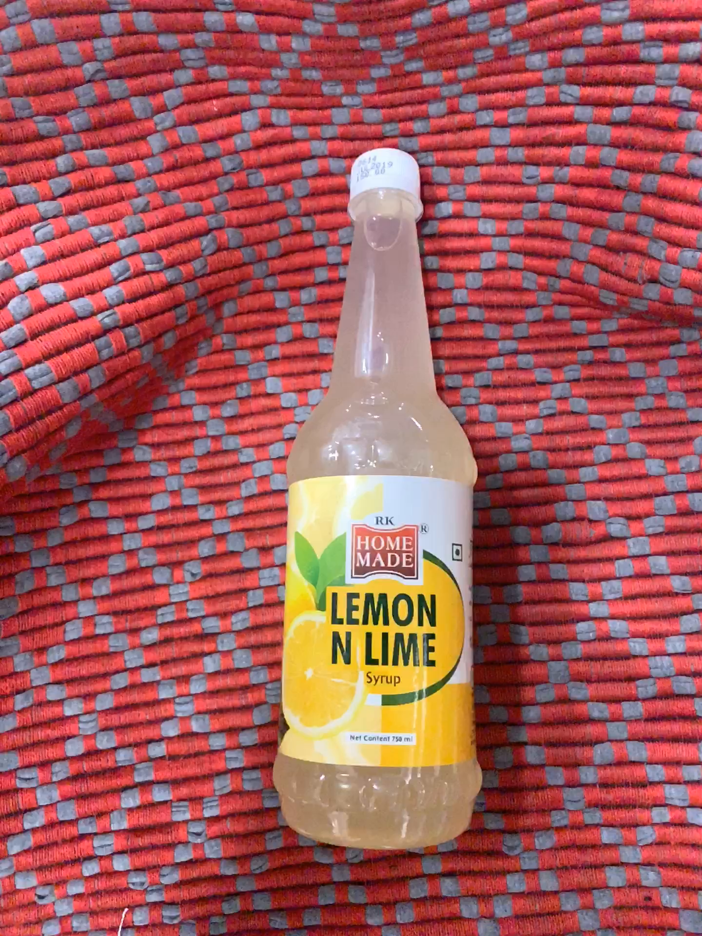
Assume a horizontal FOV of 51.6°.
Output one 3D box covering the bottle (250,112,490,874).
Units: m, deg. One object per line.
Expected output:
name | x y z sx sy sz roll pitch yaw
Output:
bottle | 0.014 0.000 0.279 0.070 0.070 0.260 -1 74 9
